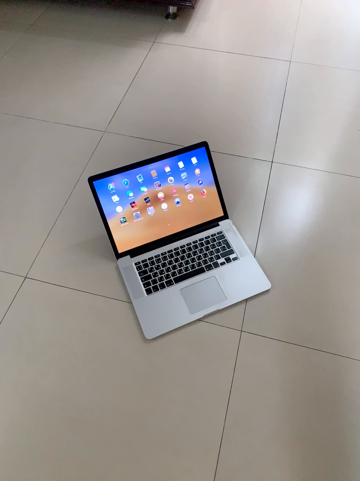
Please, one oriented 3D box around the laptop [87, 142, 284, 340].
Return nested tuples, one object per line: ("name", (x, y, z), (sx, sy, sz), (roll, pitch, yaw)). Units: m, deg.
("laptop", (-0.003, -0.020, 0.981), (0.352, 0.162, 0.415), (-20, 59, -13))
